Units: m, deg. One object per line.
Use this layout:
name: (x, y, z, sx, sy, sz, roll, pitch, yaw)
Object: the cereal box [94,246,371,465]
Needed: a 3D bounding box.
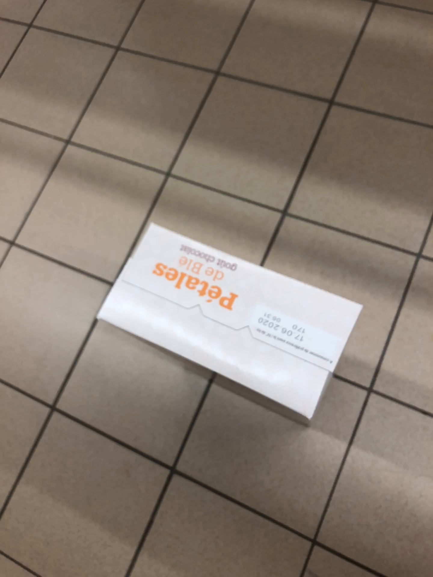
cereal box: (0.033, 0.085, 0.506, 0.190, 0.290, 0.100, 22, 78, 17)
